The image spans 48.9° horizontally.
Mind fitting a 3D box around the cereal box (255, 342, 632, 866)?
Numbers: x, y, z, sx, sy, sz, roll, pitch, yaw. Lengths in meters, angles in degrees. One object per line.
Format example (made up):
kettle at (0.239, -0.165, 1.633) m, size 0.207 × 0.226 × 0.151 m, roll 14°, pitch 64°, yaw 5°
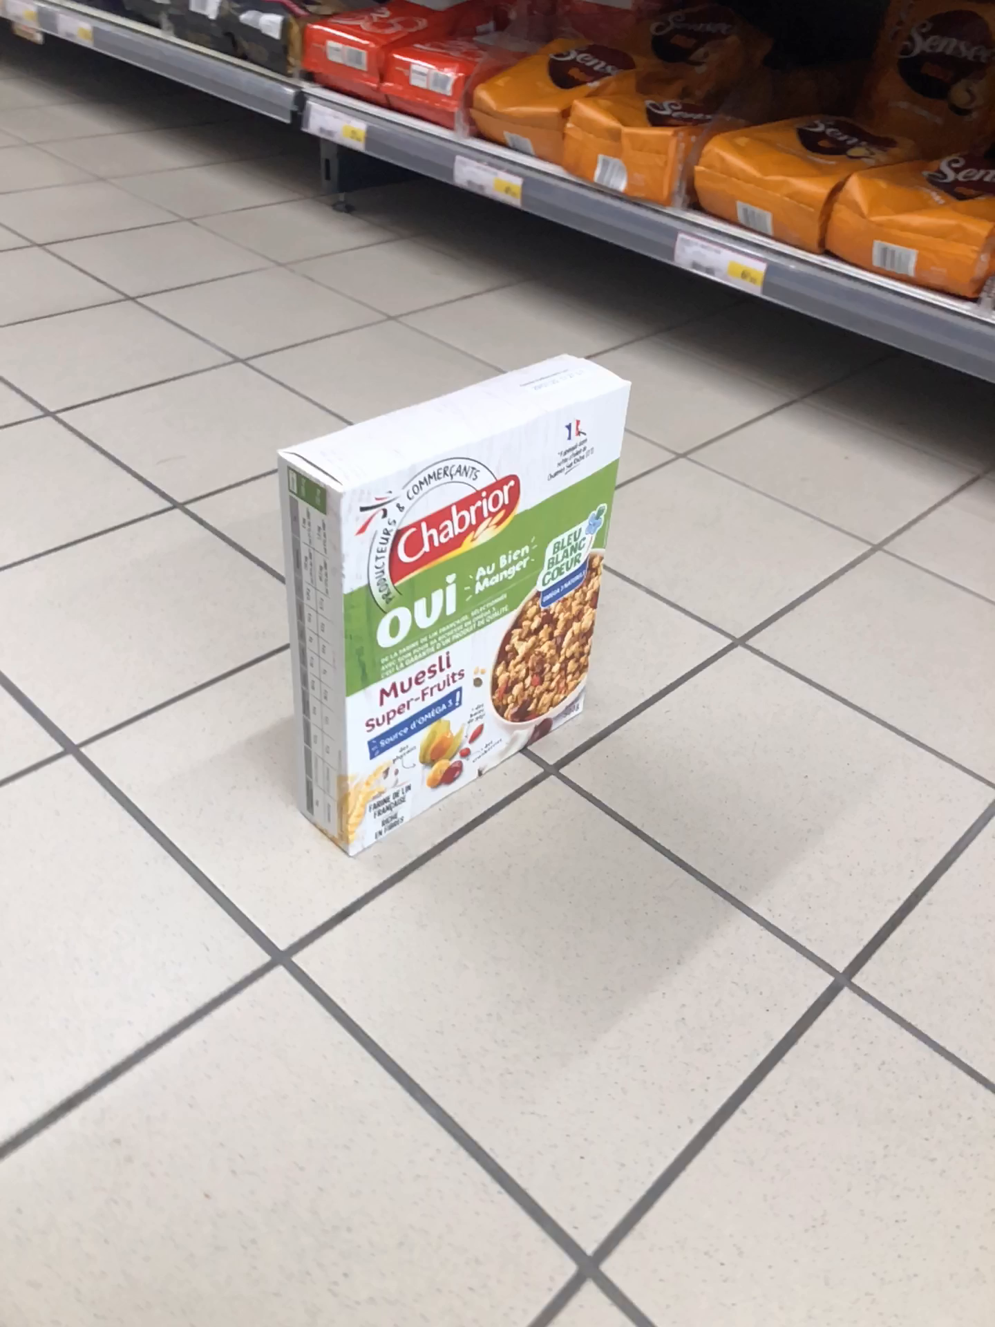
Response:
cereal box at (-0.028, -0.033, 0.592) m, size 0.060 × 0.229 × 0.191 m, roll 34°, pitch 45°, yaw 32°
